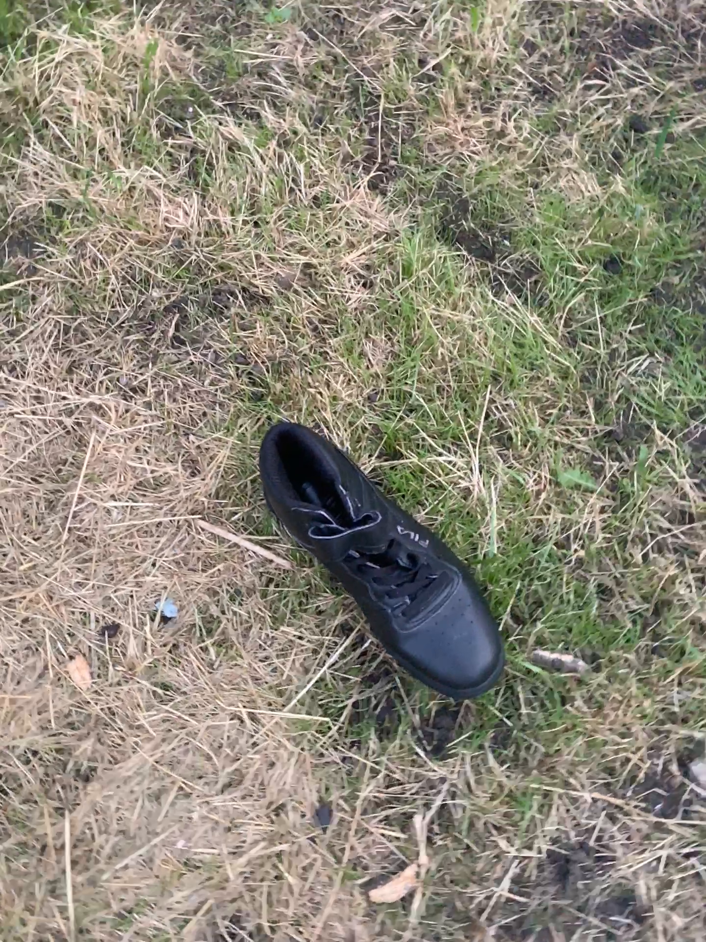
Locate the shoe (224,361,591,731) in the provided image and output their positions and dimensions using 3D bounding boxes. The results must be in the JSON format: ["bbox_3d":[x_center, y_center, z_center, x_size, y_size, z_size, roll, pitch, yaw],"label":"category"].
[{"bbox_3d":[0.030,0.063,0.563,0.100,0.139,0.261,-41,75,-17],"label":"shoe"}]
